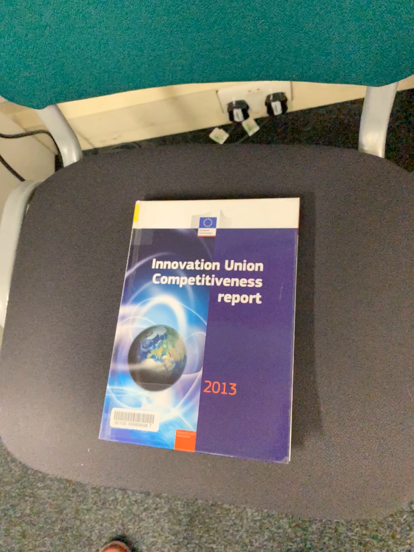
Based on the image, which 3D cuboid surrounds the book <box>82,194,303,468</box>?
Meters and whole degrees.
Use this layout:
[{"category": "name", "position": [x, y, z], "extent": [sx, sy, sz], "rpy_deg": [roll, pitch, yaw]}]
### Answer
[{"category": "book", "position": [-0.010, 0.040, 0.426], "extent": [0.194, 0.026, 0.251], "rpy_deg": [2, 73, 17]}]
